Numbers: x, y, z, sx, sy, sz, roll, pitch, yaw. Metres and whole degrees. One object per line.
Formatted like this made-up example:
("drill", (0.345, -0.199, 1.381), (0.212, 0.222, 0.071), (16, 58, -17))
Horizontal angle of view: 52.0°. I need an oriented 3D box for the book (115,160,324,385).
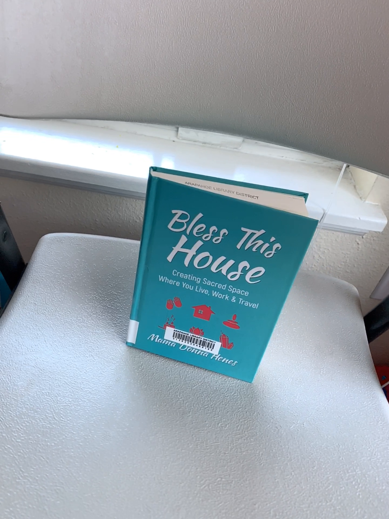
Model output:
("book", (0.011, 0.019, 0.356), (0.141, 0.181, 0.051), (11, 32, -1))
